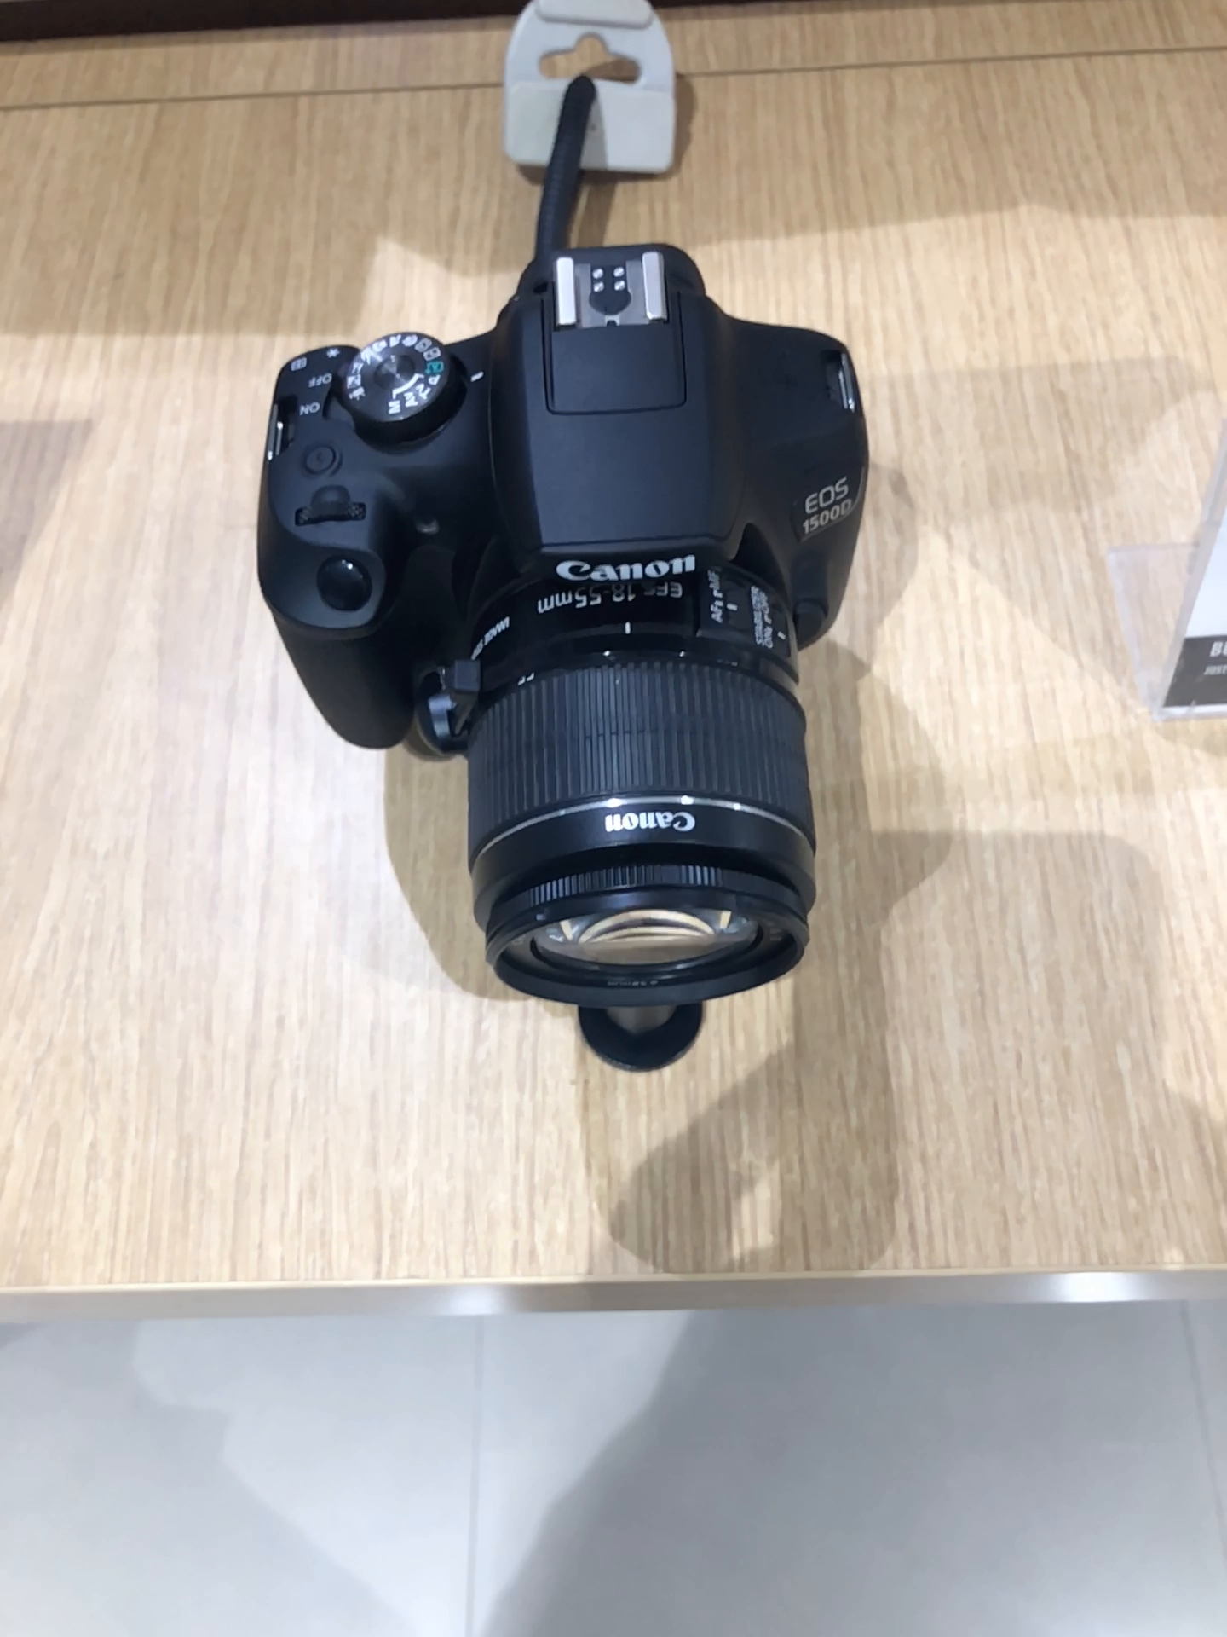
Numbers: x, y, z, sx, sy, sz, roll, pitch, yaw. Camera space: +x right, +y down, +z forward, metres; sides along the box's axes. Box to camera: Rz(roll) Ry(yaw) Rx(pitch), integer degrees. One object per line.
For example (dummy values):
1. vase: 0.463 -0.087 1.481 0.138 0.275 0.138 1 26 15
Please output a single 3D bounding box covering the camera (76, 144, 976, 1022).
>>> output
1. camera: -0.011 -0.042 0.268 0.130 0.090 0.141 -1 64 3
